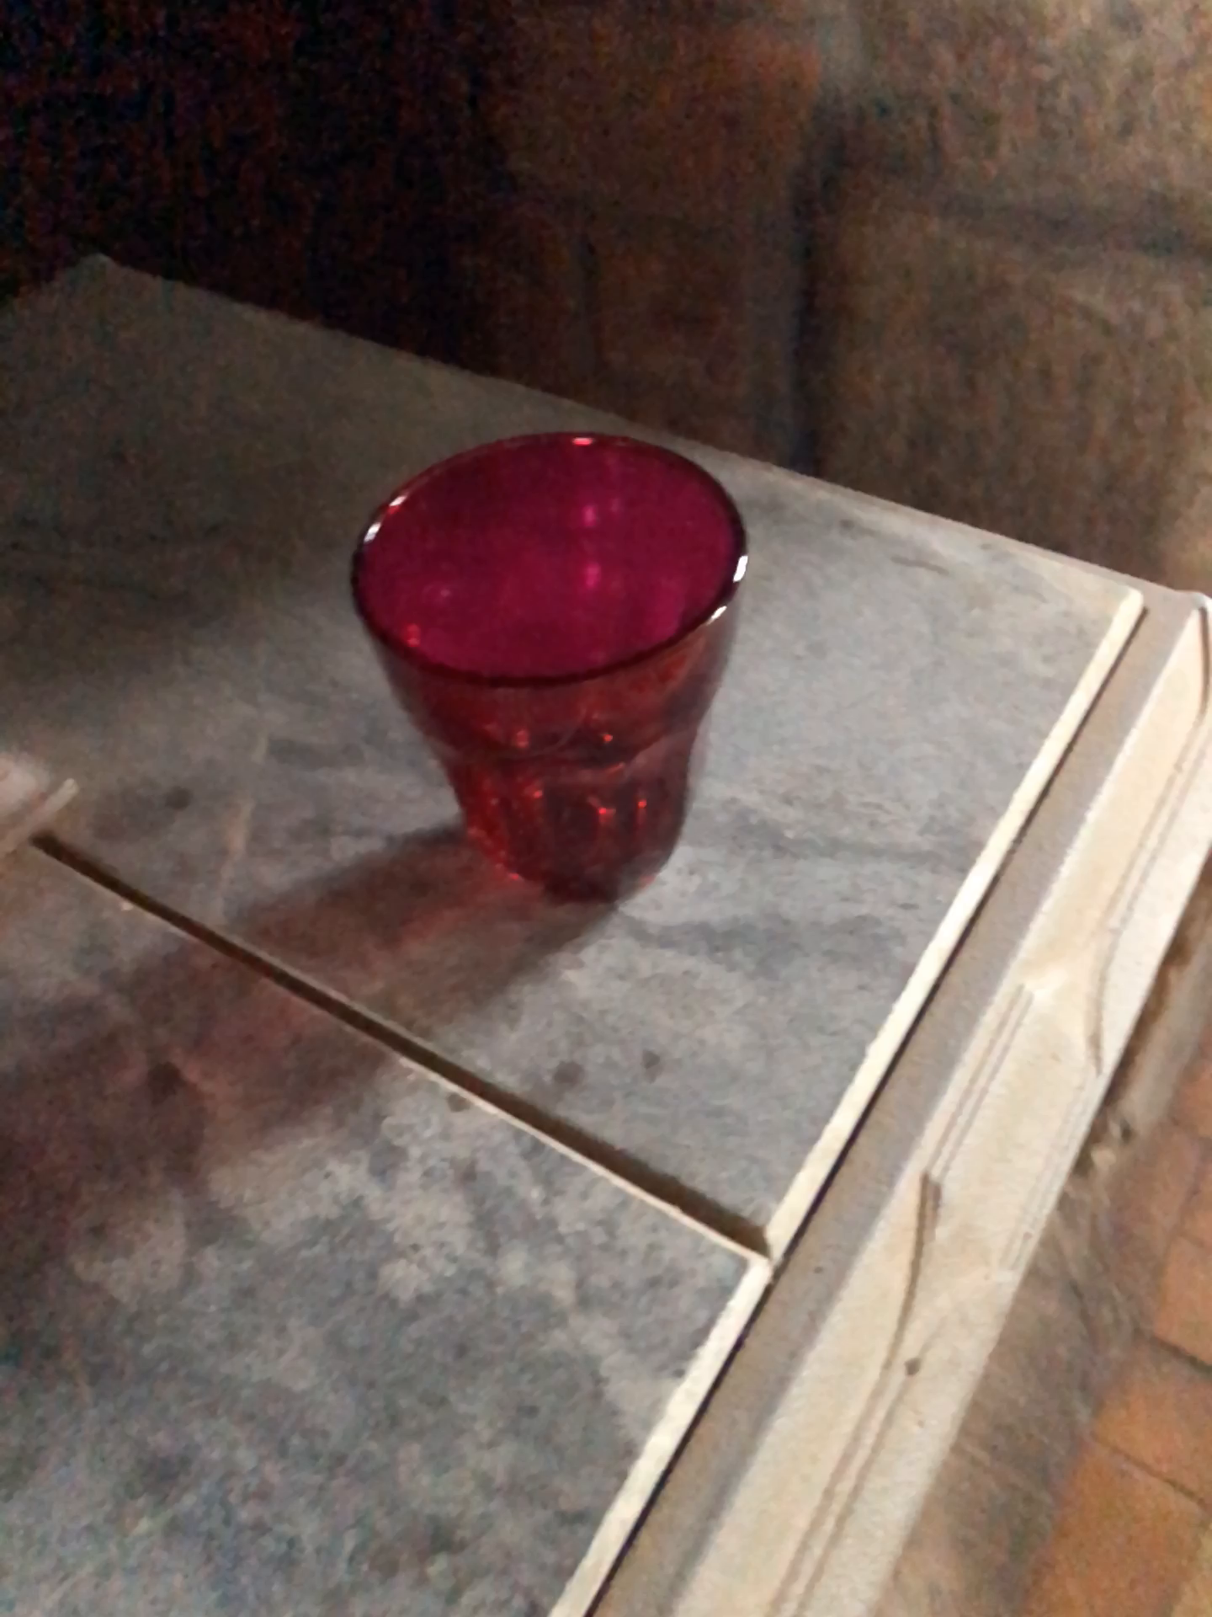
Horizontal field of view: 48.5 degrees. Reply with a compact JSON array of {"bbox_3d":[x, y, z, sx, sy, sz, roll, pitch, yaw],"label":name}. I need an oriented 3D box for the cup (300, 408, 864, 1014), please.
[{"bbox_3d":[0.001,-0.020,0.267,0.080,0.079,0.070,13,52,16],"label":"cup"}]
